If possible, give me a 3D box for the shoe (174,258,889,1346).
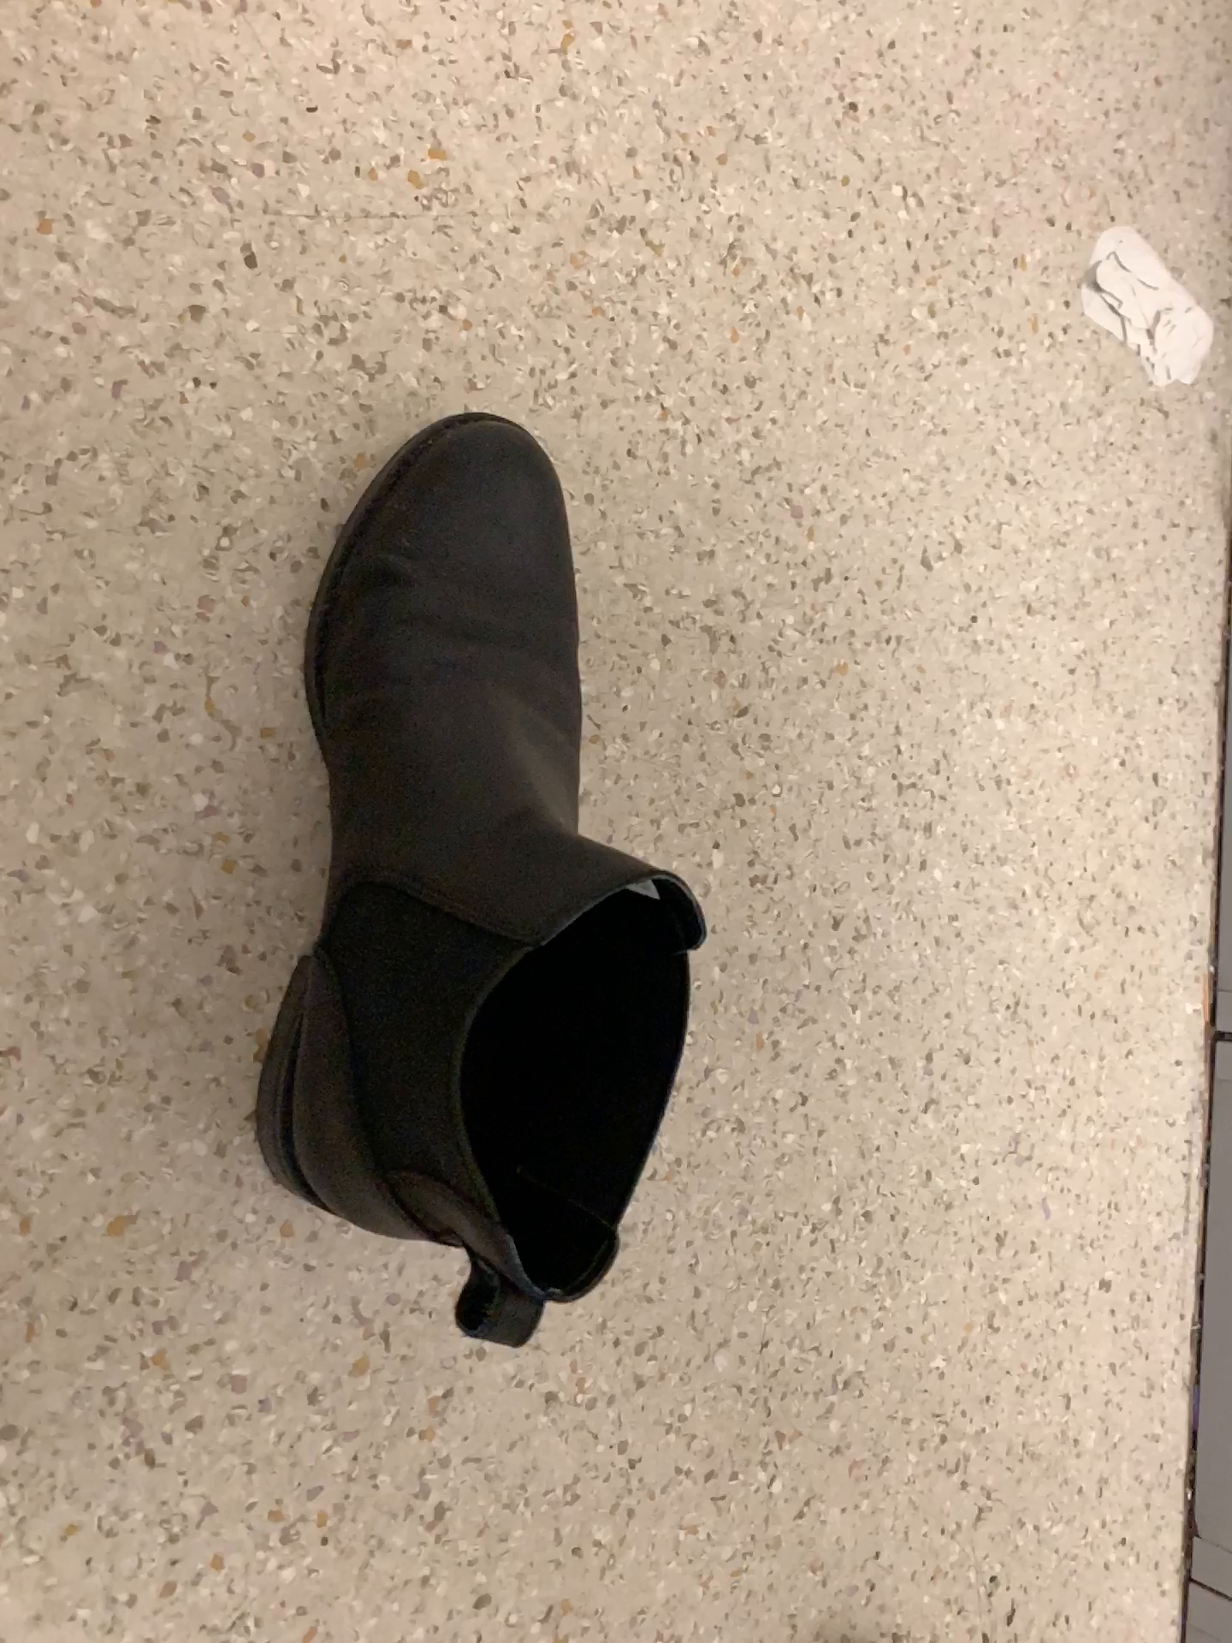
[{"bbox_3d":[-0.031,0.001,0.391,0.107,0.164,0.262,16,79,-33],"label":"shoe"}]
